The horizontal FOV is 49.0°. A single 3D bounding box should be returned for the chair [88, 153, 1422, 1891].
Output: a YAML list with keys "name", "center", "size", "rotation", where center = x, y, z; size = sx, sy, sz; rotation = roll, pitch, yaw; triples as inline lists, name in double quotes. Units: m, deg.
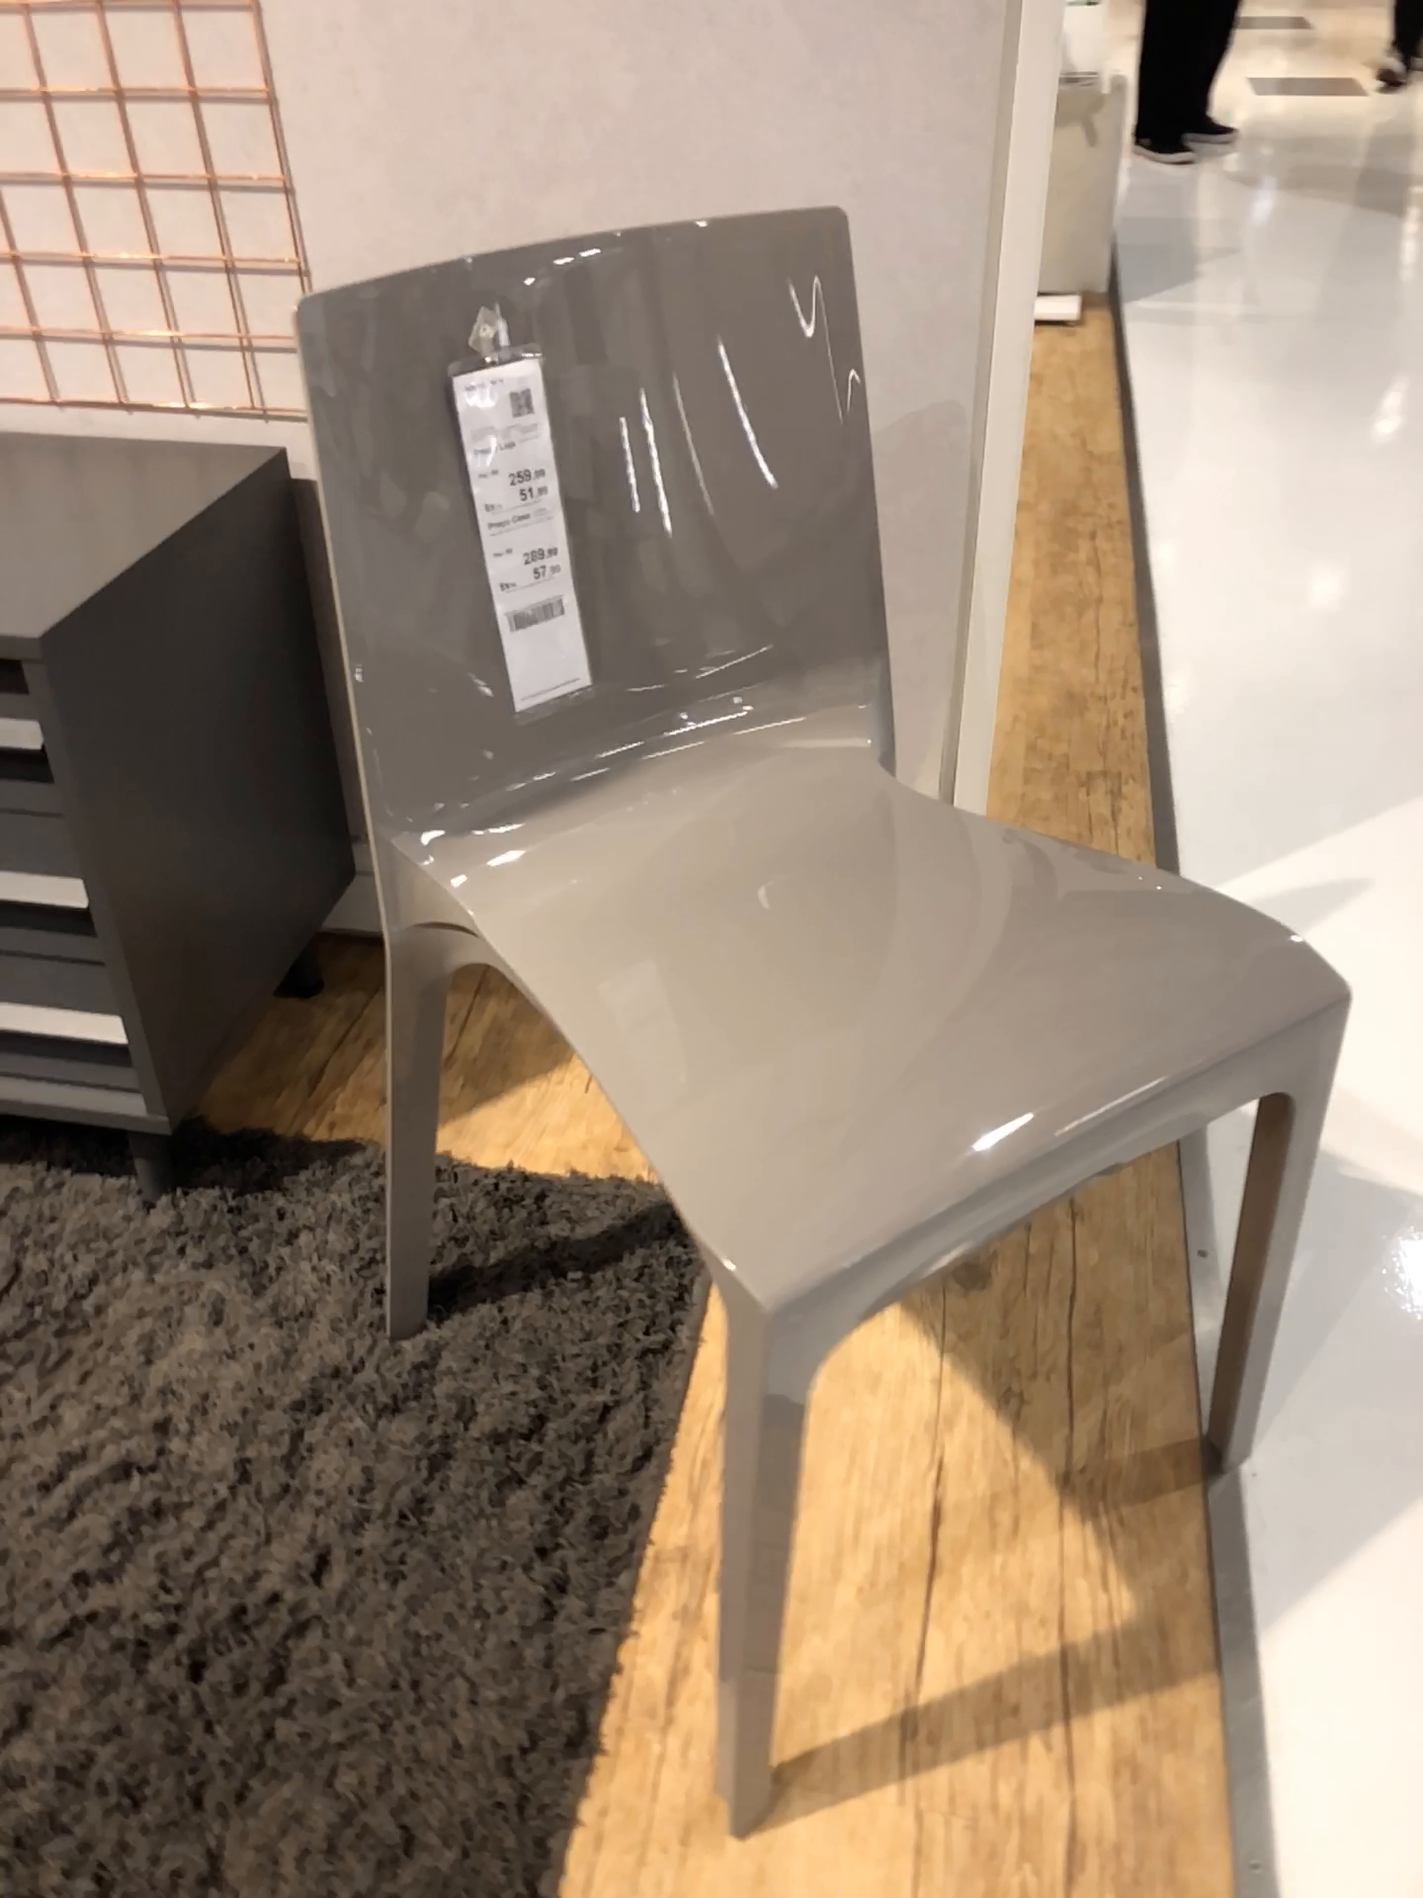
- name: "chair"
  center: [0.049, 0.004, 0.961]
  size: [0.521, 0.754, 0.563]
  rotation: [-21, 41, -24]
